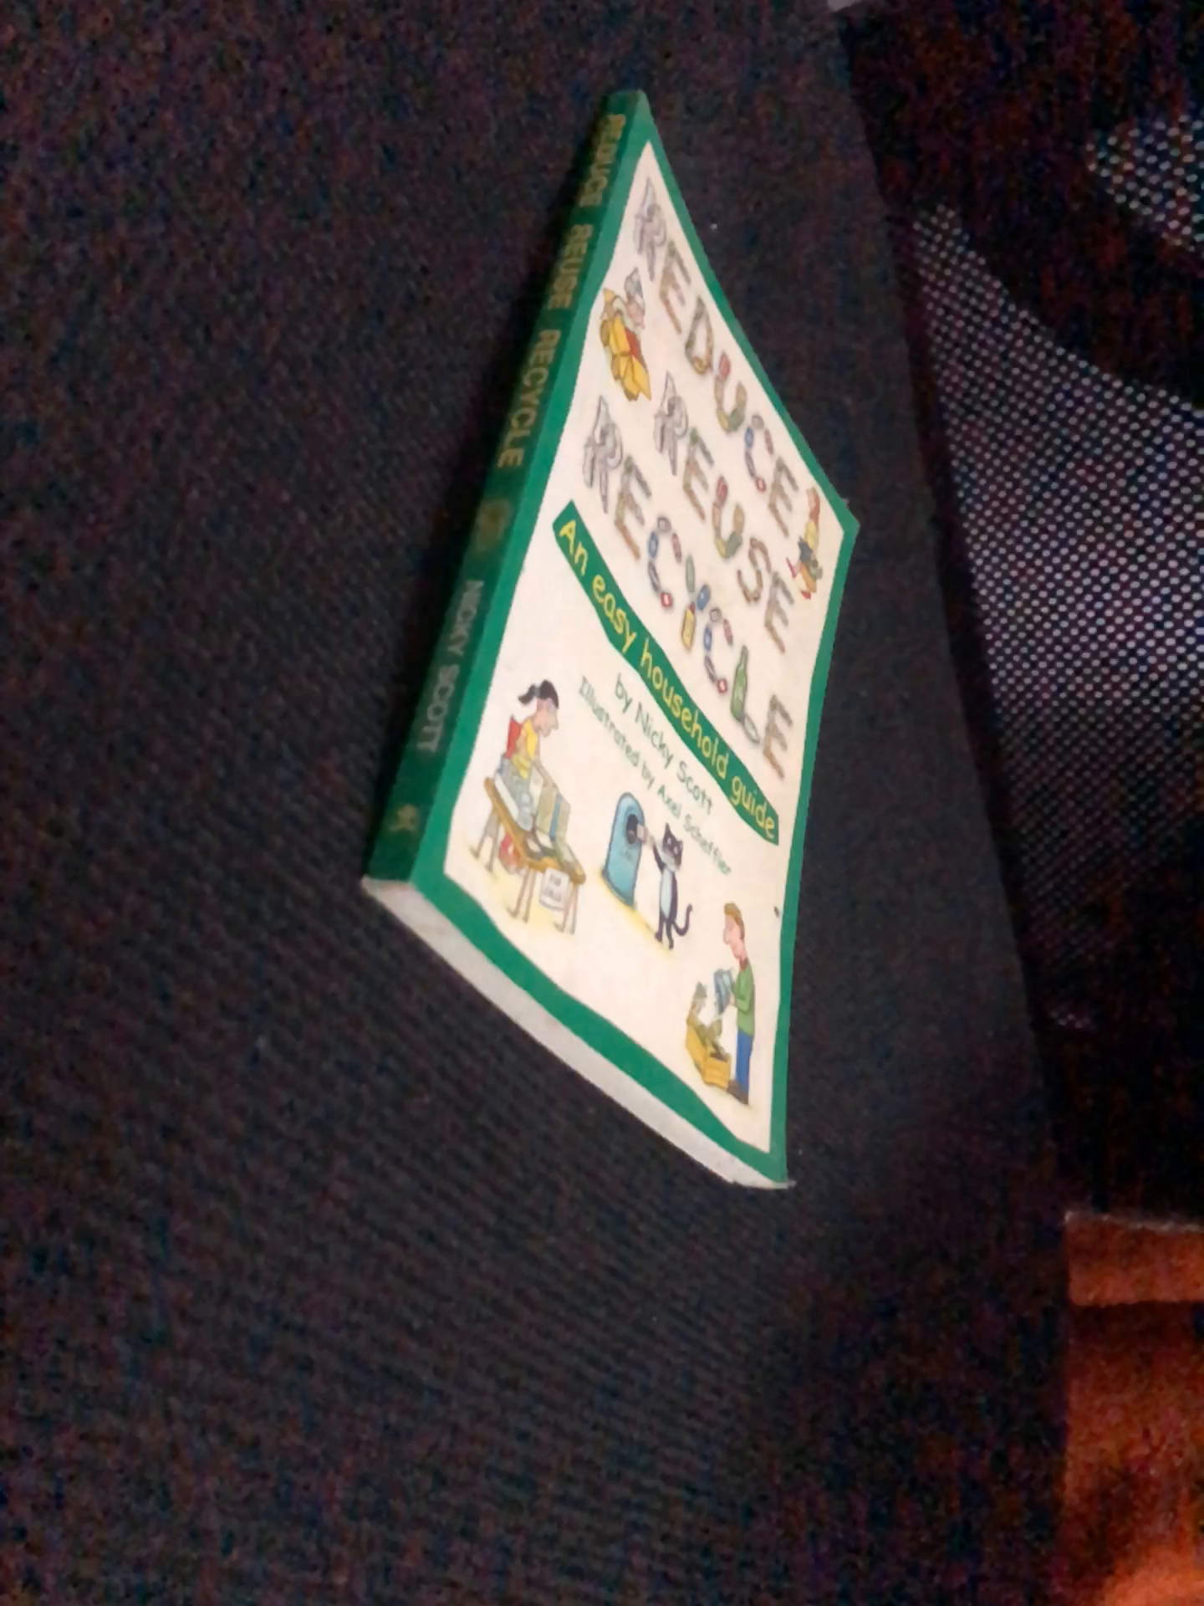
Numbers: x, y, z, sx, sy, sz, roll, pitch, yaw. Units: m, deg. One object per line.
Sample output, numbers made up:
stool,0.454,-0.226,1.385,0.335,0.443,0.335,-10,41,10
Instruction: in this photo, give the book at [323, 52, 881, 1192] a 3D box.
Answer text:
book,0.018,-0.032,0.256,0.131,0.018,0.173,48,44,-46
